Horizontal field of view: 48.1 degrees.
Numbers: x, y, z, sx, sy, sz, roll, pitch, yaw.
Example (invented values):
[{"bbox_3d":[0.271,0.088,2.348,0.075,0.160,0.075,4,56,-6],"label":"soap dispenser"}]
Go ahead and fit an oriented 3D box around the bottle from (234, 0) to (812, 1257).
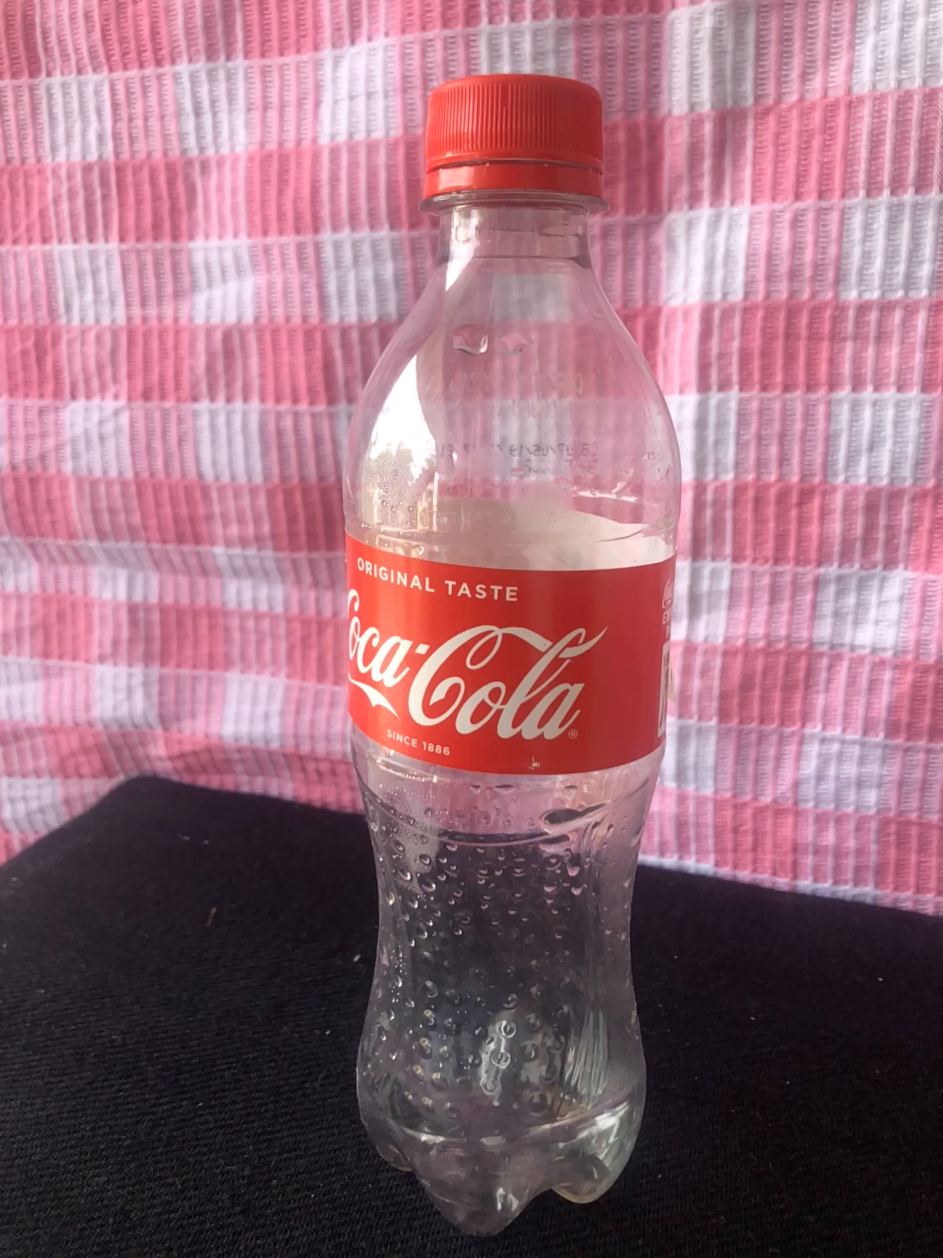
[{"bbox_3d":[0.006,0.008,0.183,0.060,0.189,0.060,1,17,0],"label":"bottle"}]
